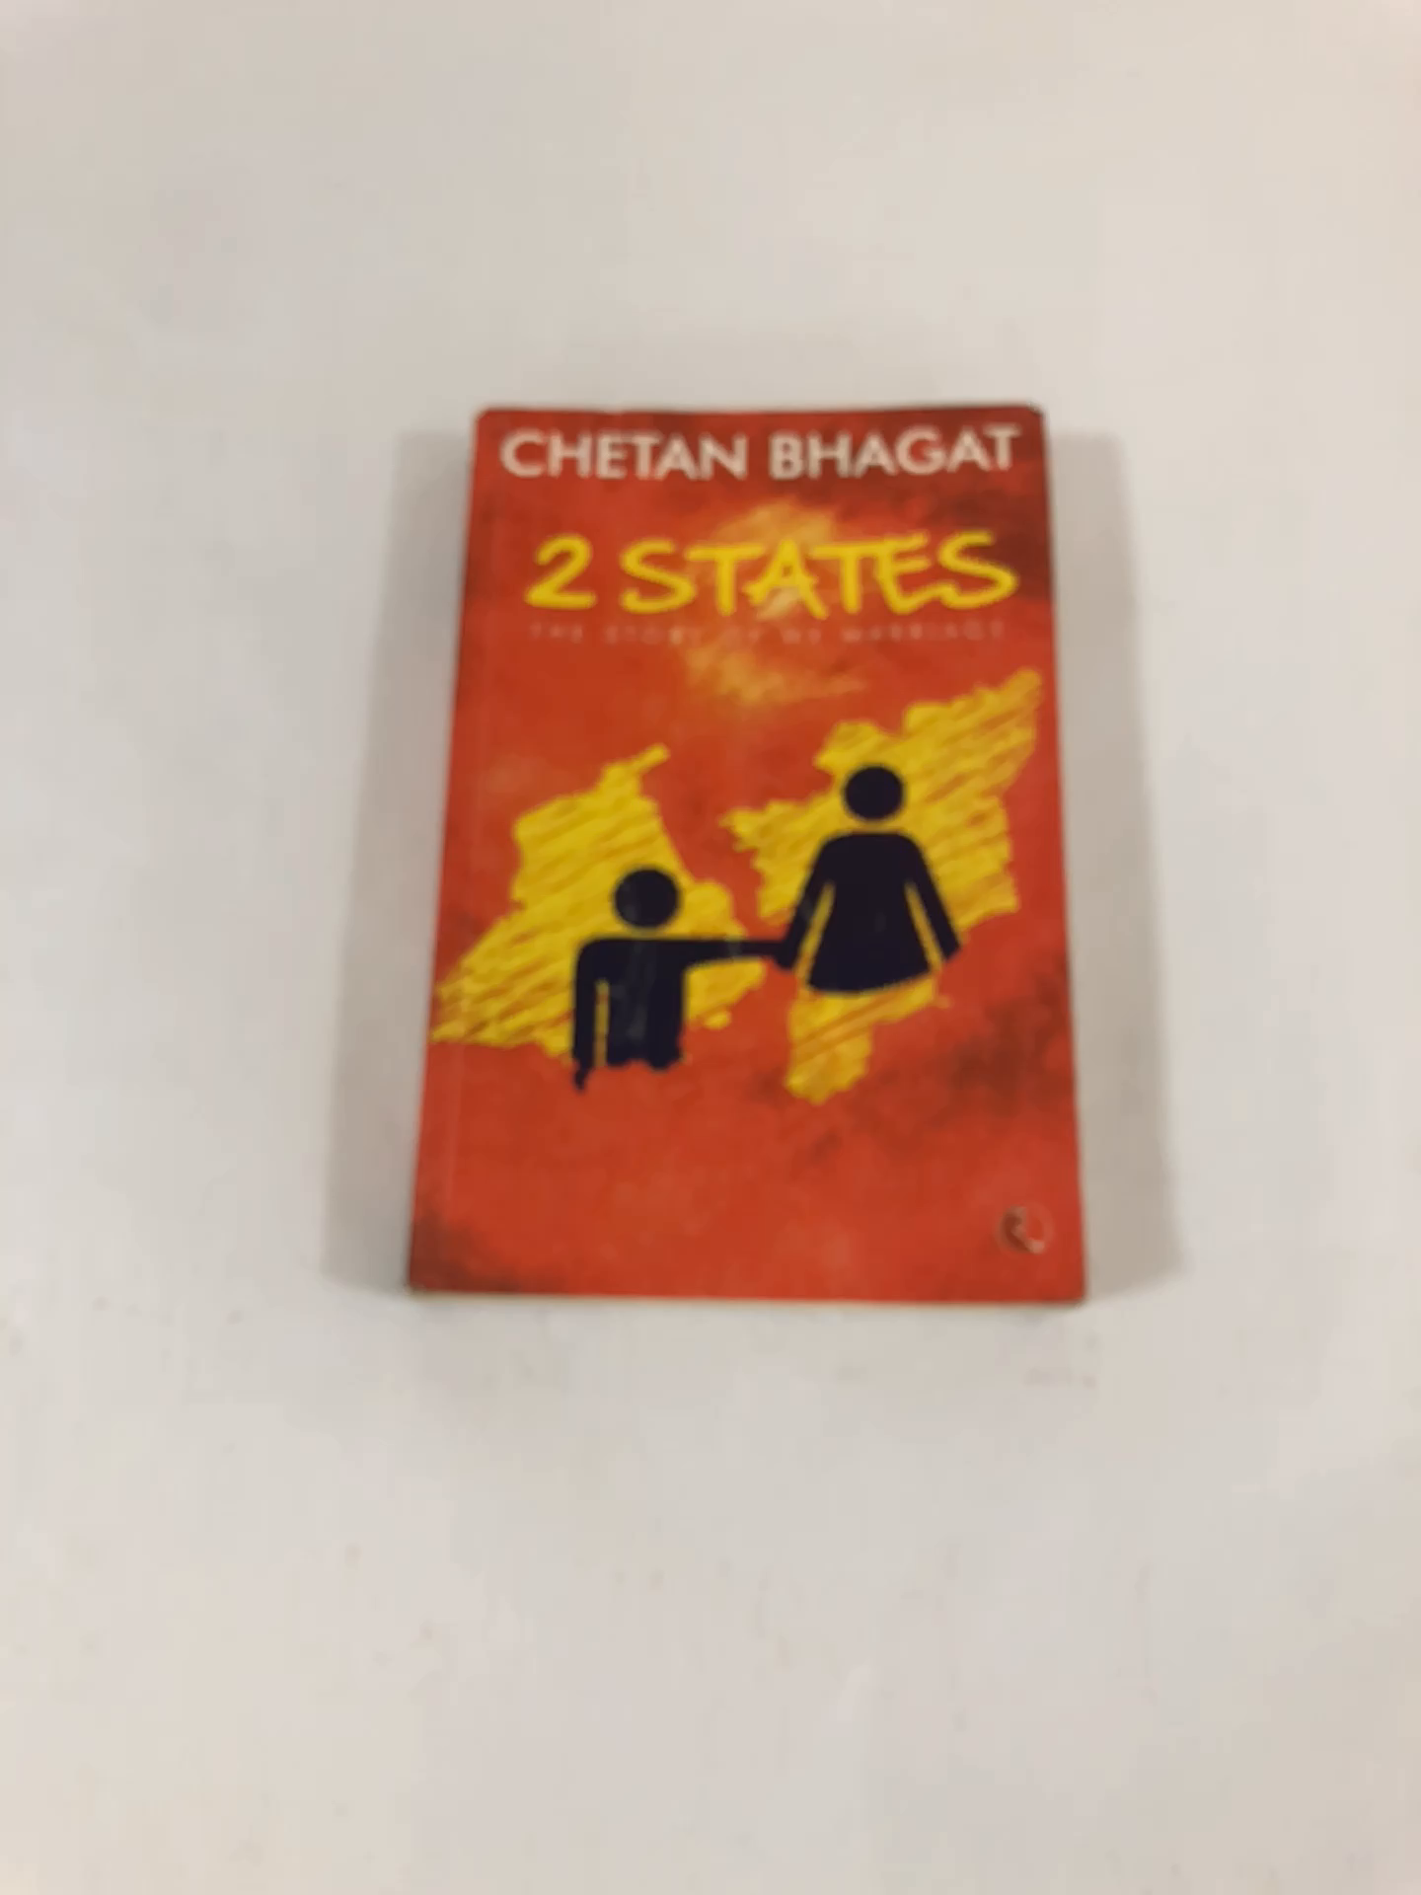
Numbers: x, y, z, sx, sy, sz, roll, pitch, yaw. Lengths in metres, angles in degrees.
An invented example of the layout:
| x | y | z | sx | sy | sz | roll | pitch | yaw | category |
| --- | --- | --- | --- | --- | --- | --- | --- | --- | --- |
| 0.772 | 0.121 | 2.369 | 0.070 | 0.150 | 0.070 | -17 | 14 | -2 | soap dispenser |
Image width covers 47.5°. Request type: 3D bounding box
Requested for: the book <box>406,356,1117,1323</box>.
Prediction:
| x | y | z | sx | sy | sz | roll | pitch | yaw | category |
| --- | --- | --- | --- | --- | --- | --- | --- | --- | --- |
| 0.012 | -0.025 | 0.326 | 0.123 | 0.040 | 0.190 | 2 | 72 | 1 | book |
